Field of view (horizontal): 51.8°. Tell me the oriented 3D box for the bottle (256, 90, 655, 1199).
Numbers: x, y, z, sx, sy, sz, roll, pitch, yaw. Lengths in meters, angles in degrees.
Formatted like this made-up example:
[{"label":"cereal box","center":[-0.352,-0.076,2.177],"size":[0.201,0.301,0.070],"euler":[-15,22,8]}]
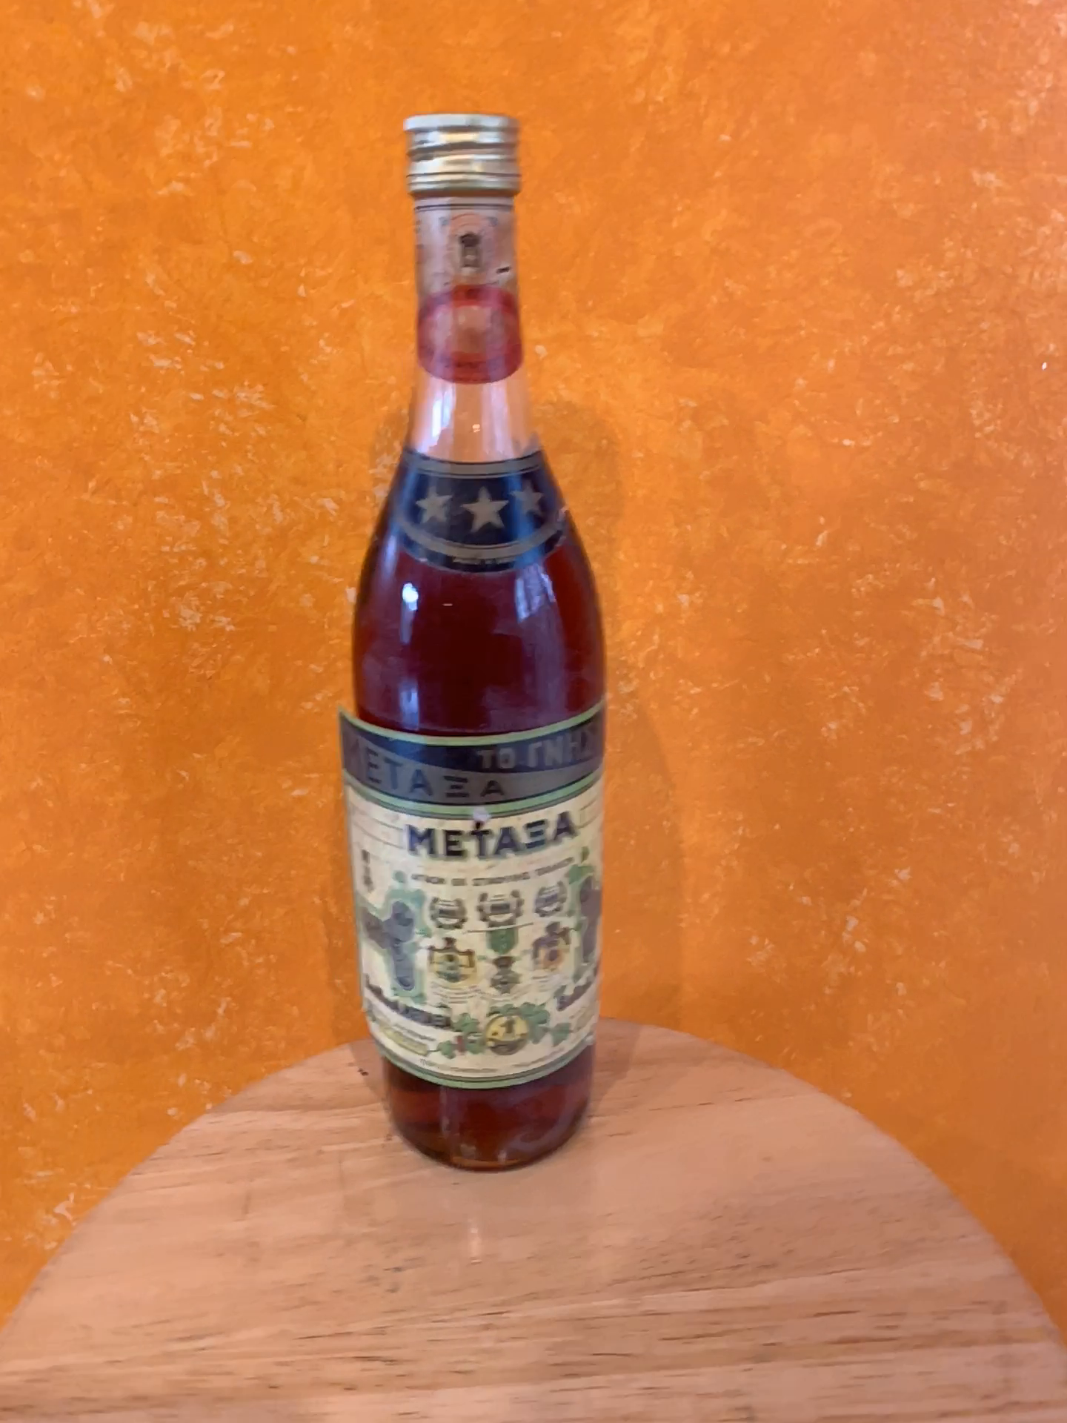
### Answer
[{"label":"bottle","center":[-0.019,-0.002,0.313],"size":[0.080,0.298,0.070],"euler":[-2,24,-4]}]
